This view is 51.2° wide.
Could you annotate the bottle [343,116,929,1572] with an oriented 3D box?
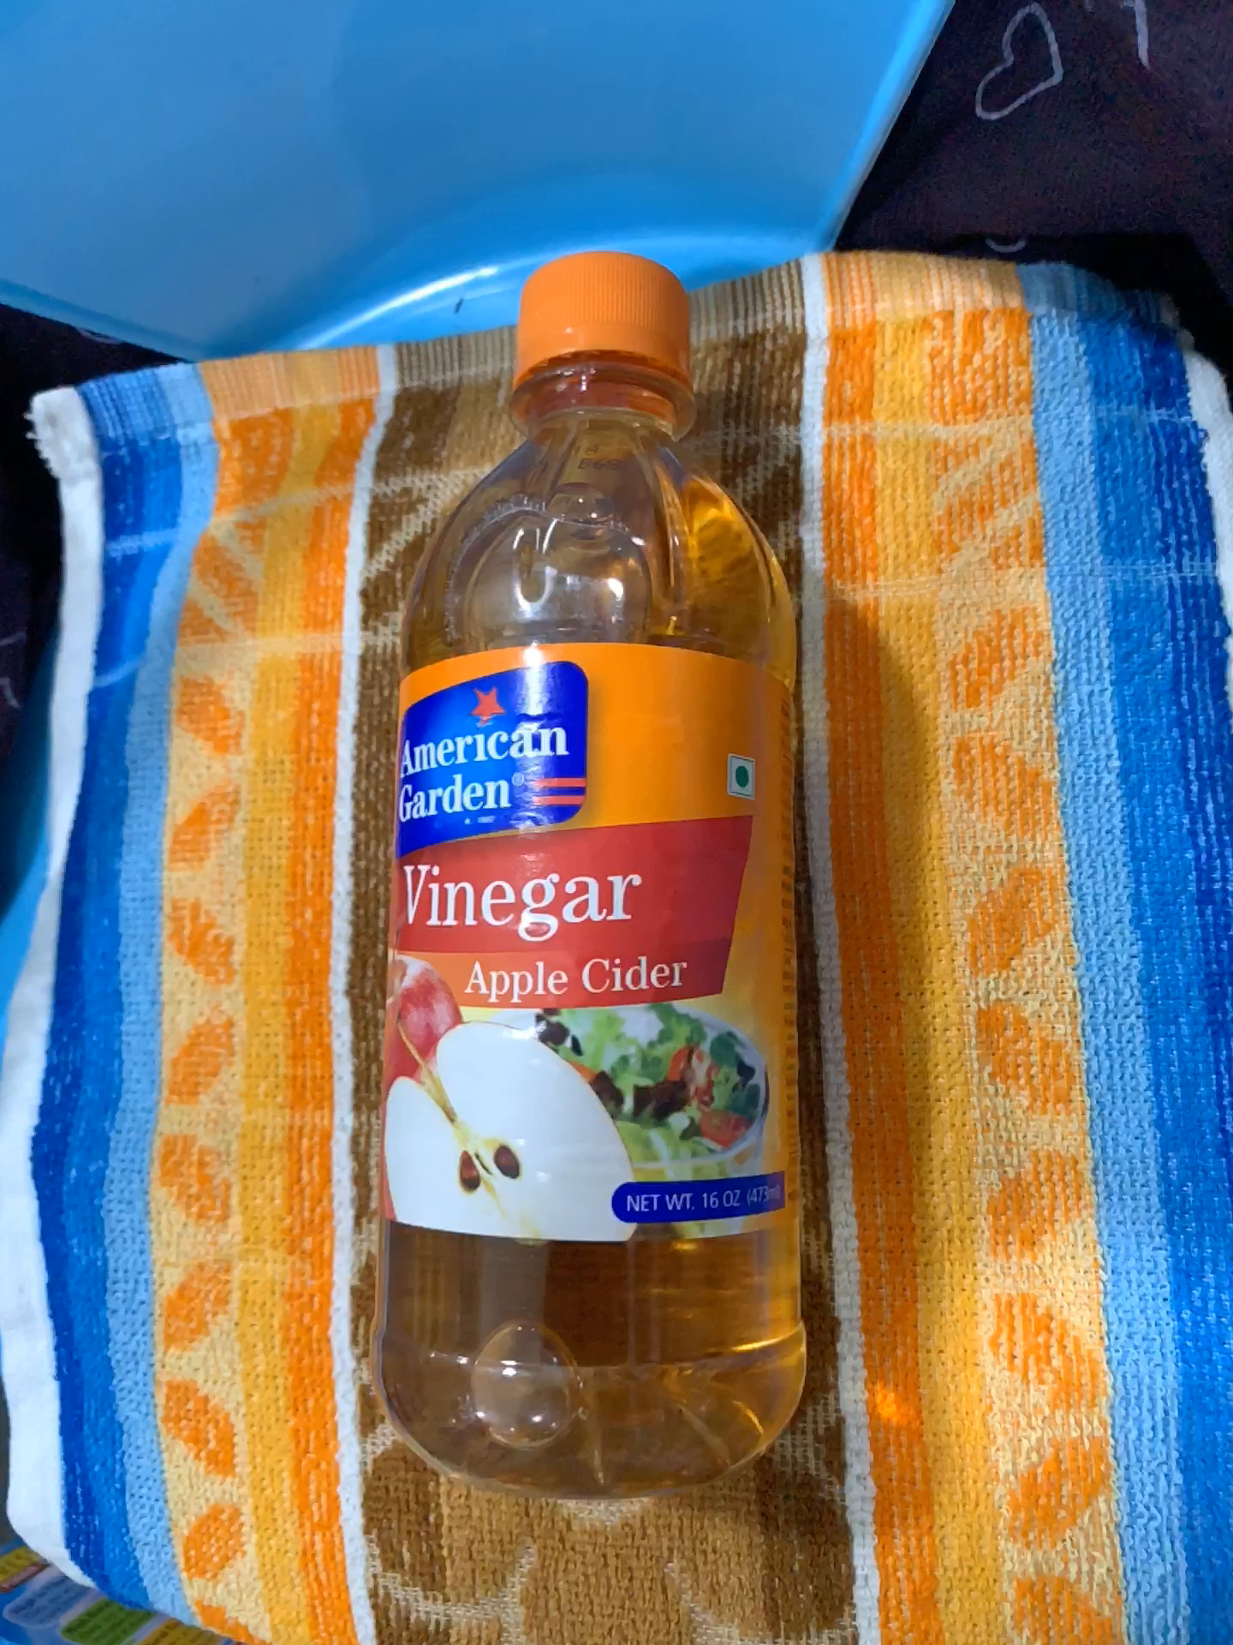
[{"bbox_3d":[0.006,0.001,0.197,0.070,0.050,0.180,-2,83,28],"label":"bottle"}]
